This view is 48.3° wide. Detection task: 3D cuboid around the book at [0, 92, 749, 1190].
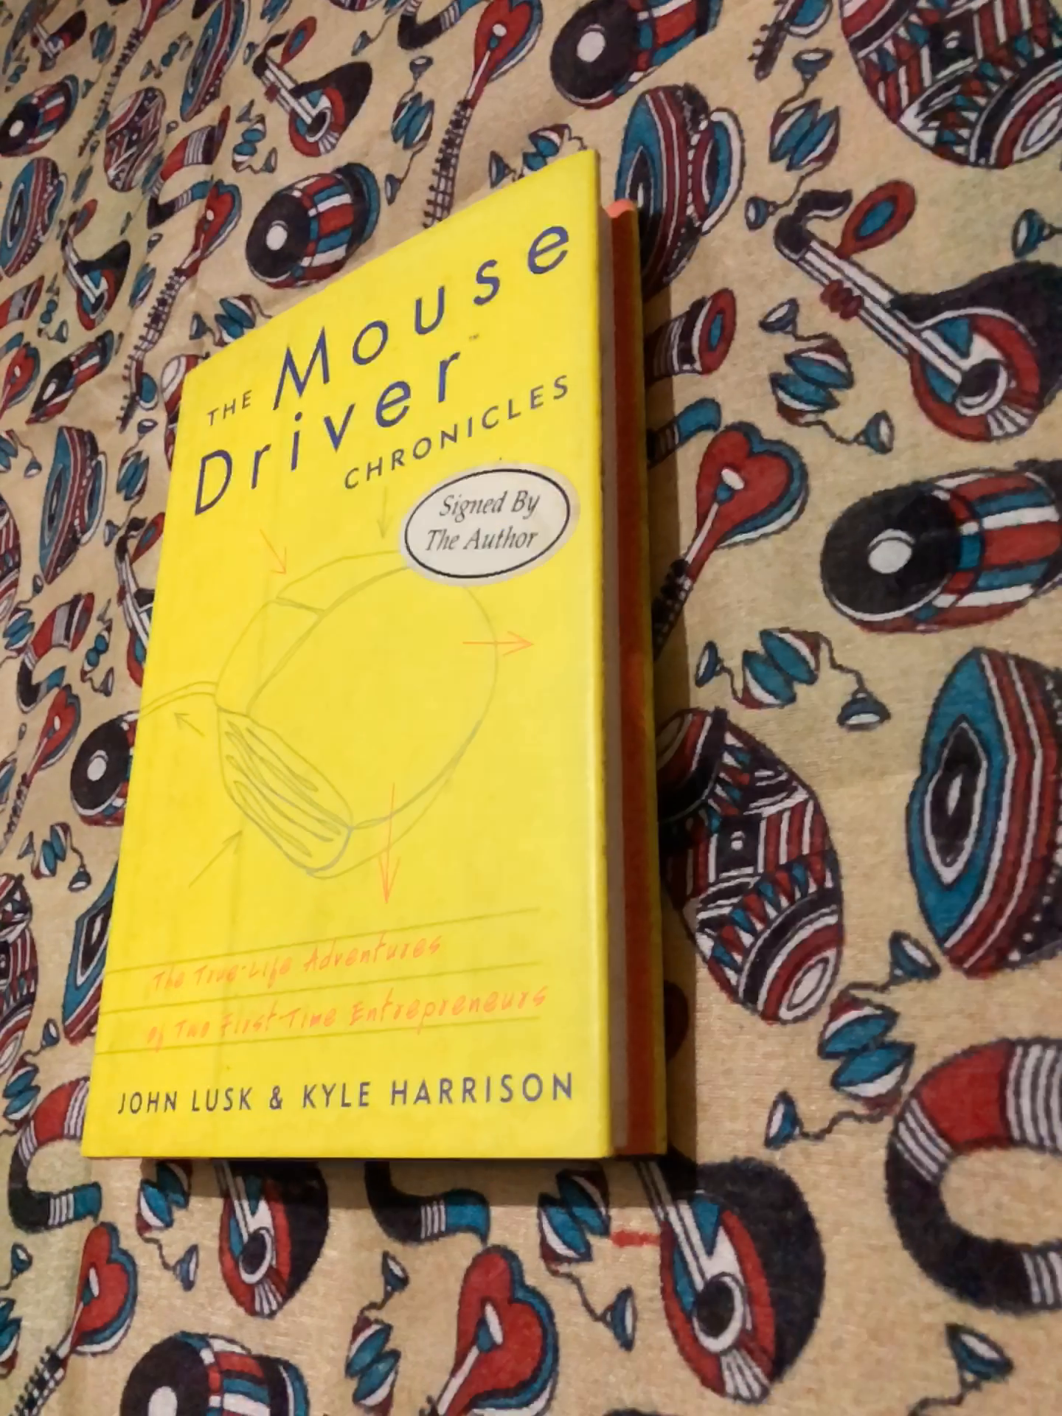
[{"bbox_3d":[-0.037,-0.010,0.270,0.161,0.040,0.220,-15,60,32],"label":"book"}]
